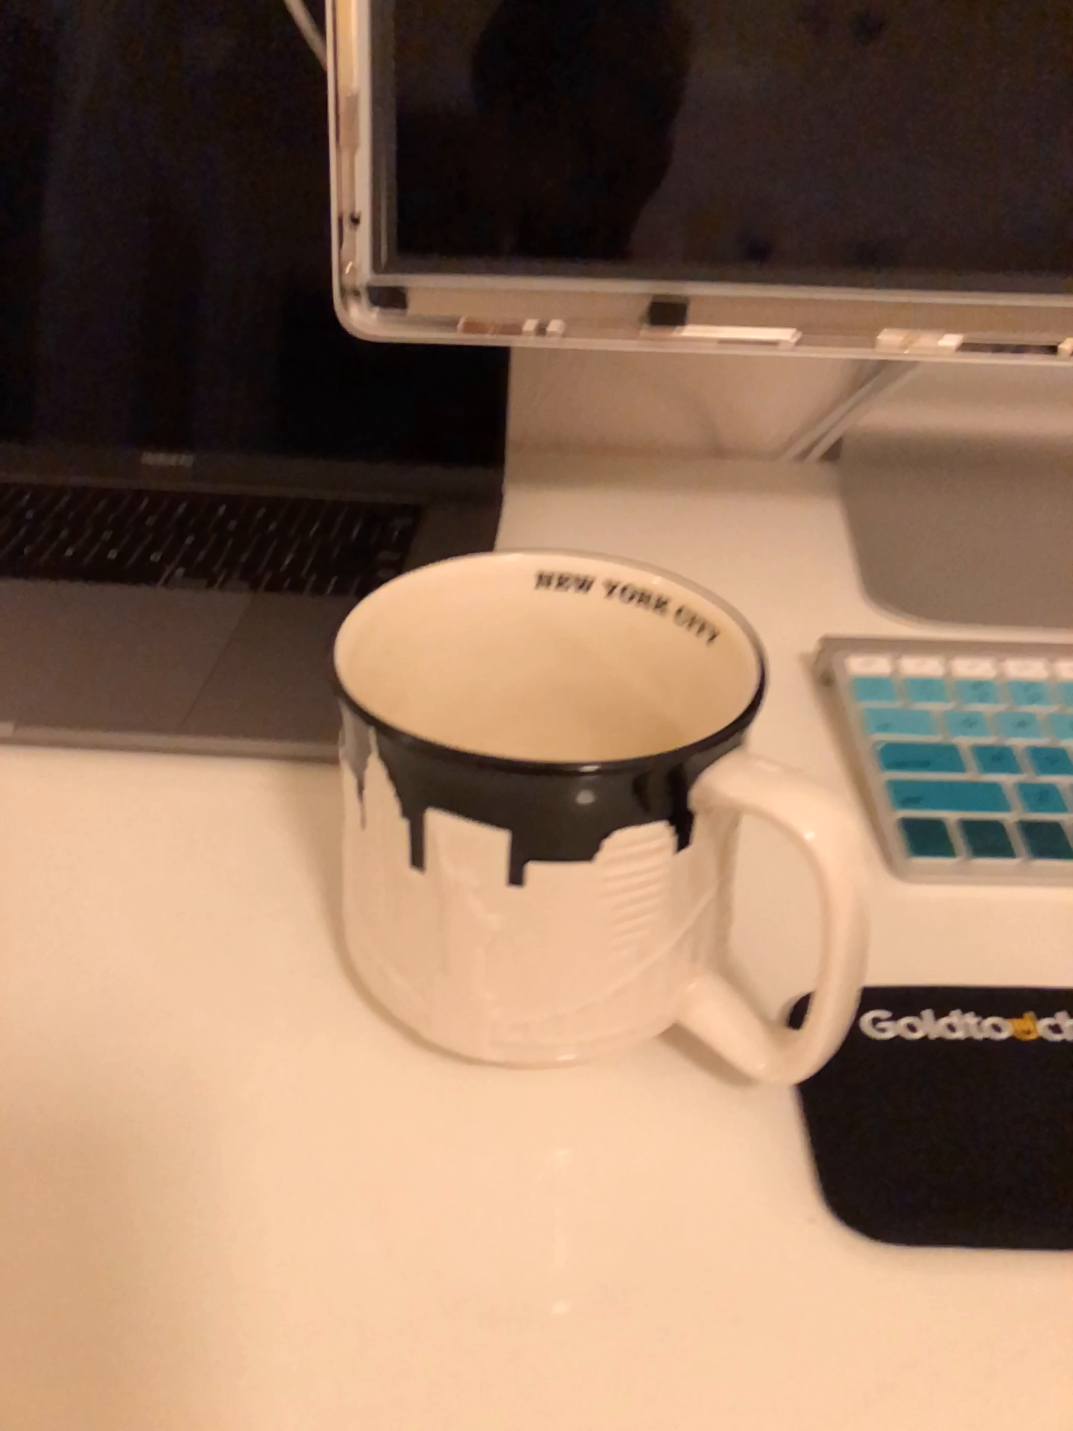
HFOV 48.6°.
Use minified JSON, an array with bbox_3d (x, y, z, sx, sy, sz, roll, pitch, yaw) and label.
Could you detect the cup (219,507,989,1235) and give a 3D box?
[{"bbox_3d":[0.017,0.025,0.295,0.140,0.089,0.111,20,37,24],"label":"cup"}]
